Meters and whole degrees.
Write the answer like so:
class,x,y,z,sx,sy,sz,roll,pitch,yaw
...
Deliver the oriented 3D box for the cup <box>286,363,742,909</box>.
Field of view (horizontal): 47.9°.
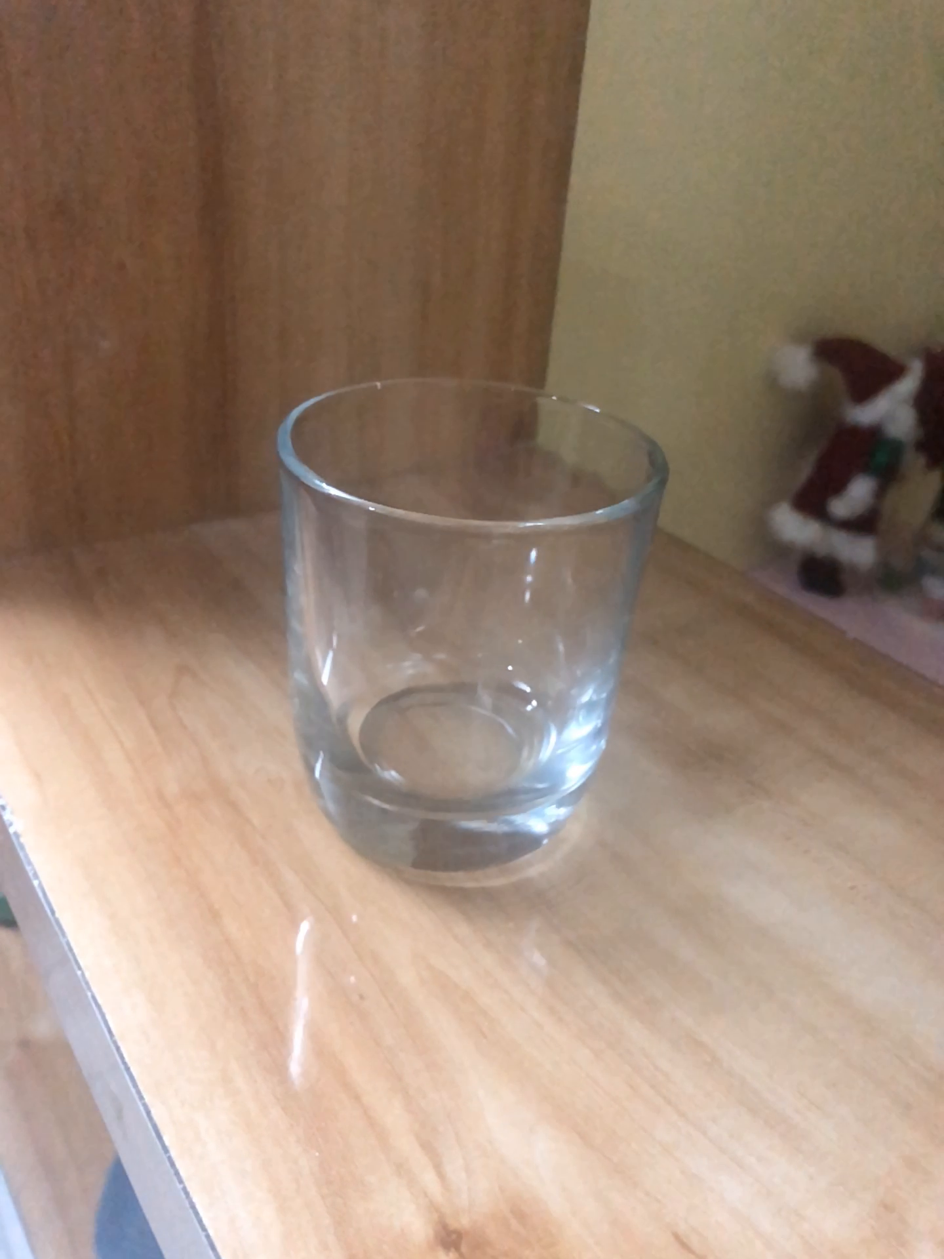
class,x,y,z,sx,sy,sz,roll,pitch,yaw
cup,-0.001,-0.004,0.248,0.080,0.090,0.090,-1,31,-11
